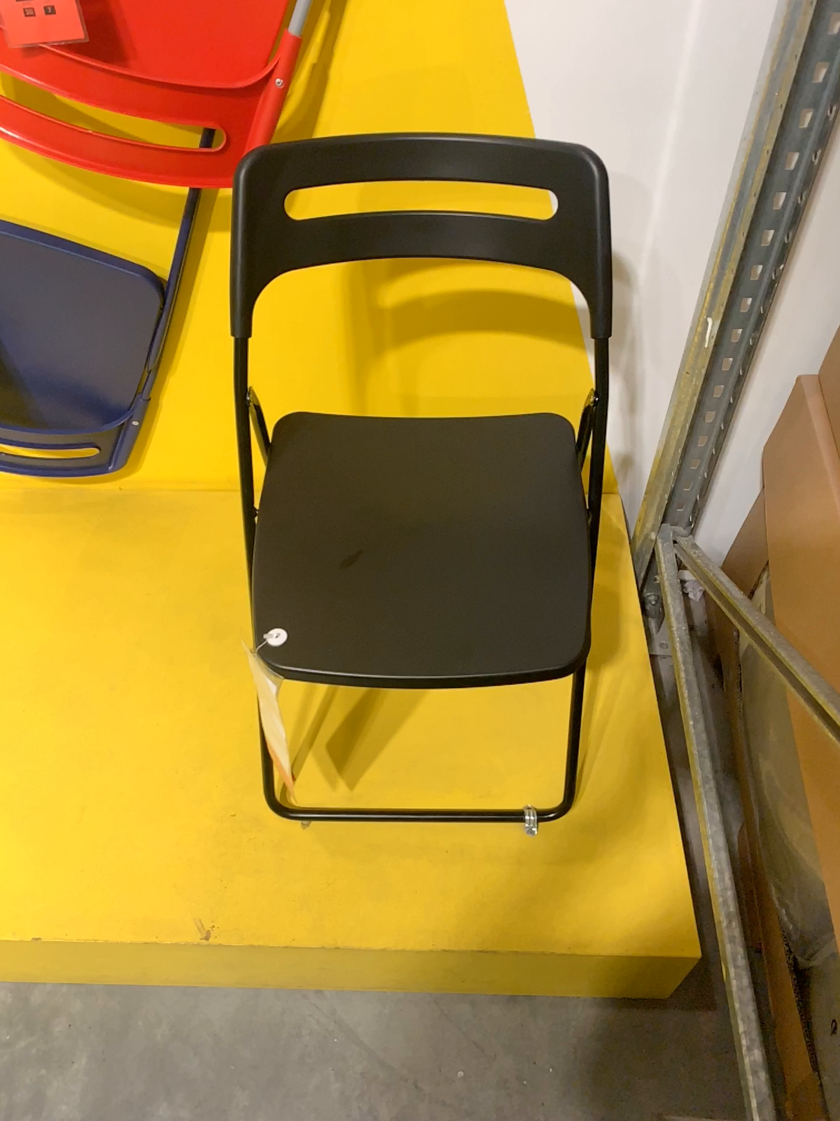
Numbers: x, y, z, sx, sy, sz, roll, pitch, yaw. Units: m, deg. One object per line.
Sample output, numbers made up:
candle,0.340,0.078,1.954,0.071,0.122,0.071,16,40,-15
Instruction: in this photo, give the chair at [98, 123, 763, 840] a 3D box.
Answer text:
chair,0.012,-0.042,0.974,0.440,0.698,0.441,1,49,1
